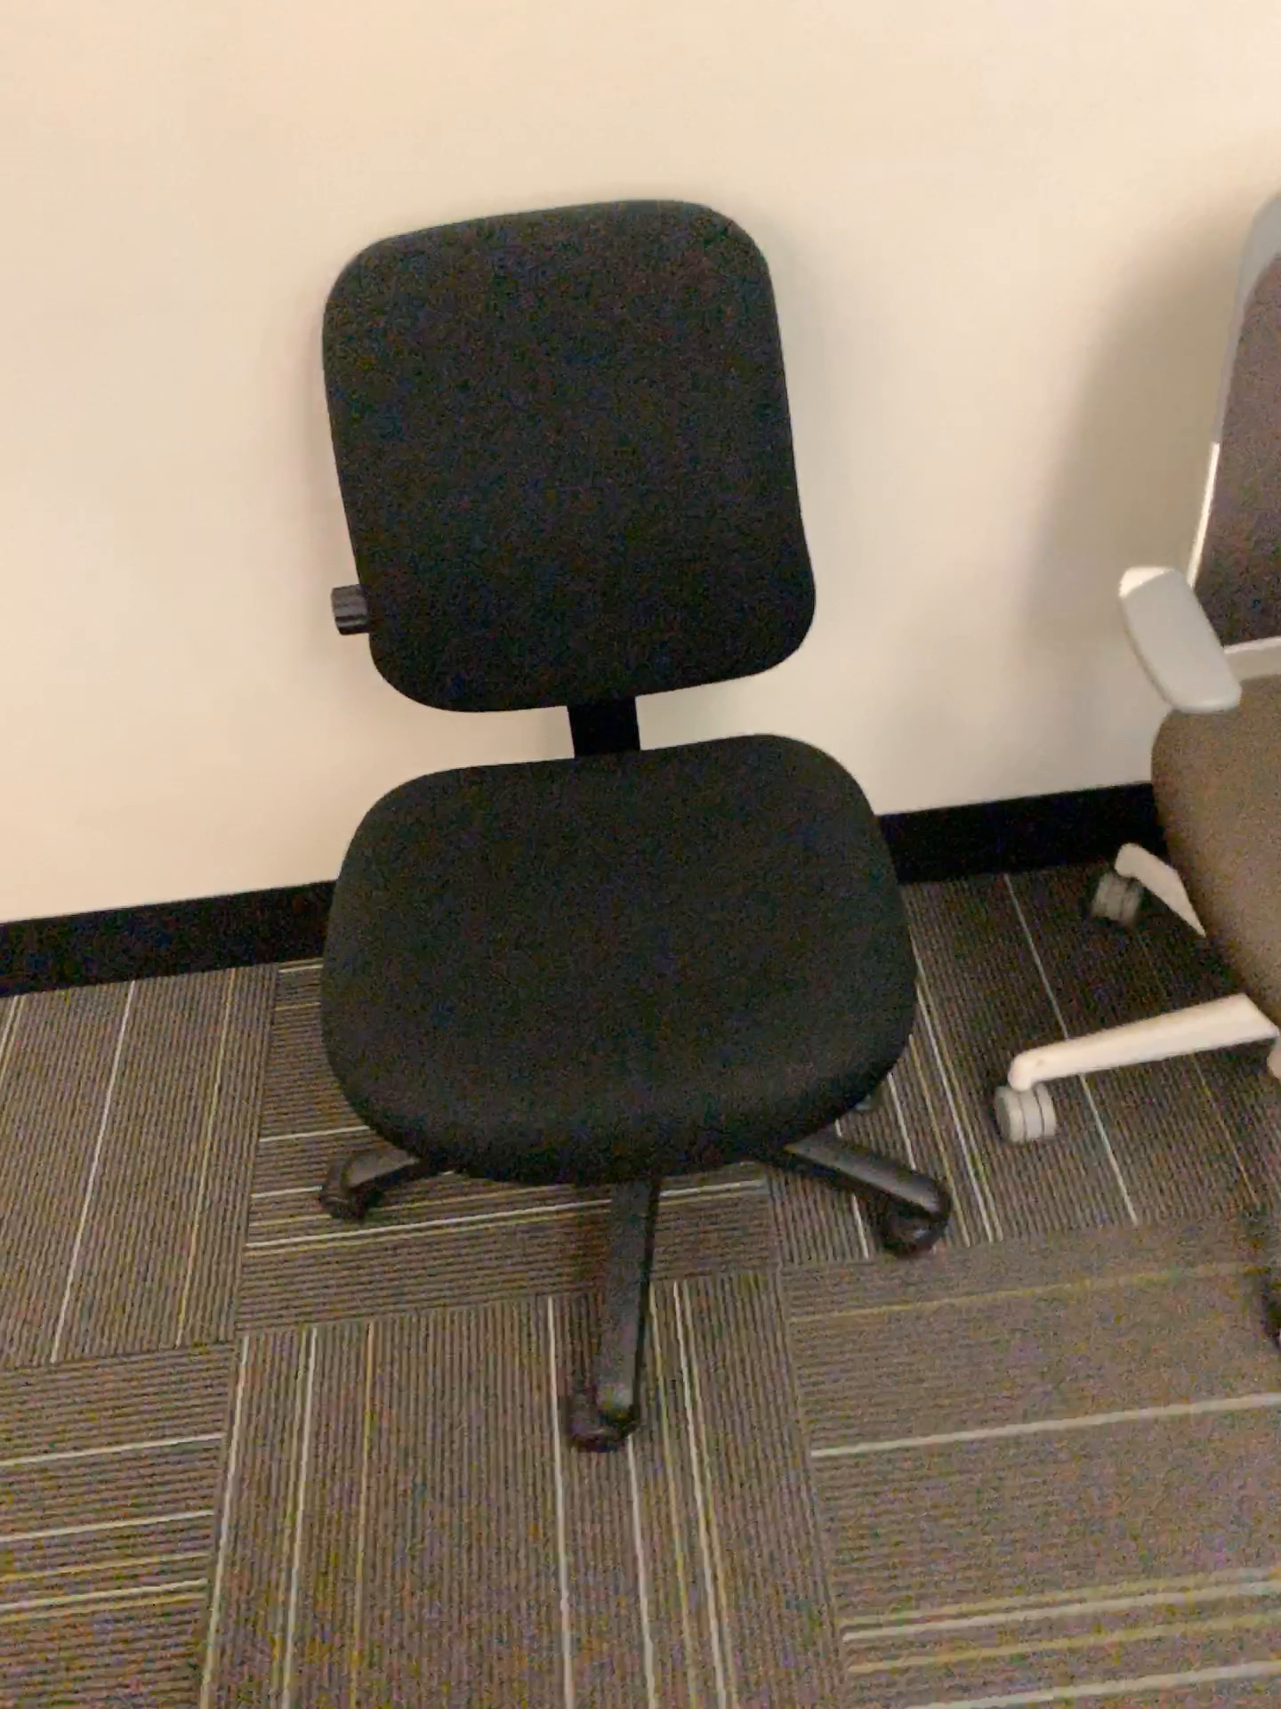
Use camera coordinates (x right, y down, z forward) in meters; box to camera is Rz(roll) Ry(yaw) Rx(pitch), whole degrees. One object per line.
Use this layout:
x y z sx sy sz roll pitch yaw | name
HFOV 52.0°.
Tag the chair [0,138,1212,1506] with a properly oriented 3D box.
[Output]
-0.054 0.026 1.258 0.680 0.995 0.744 -8 47 -1 | chair
